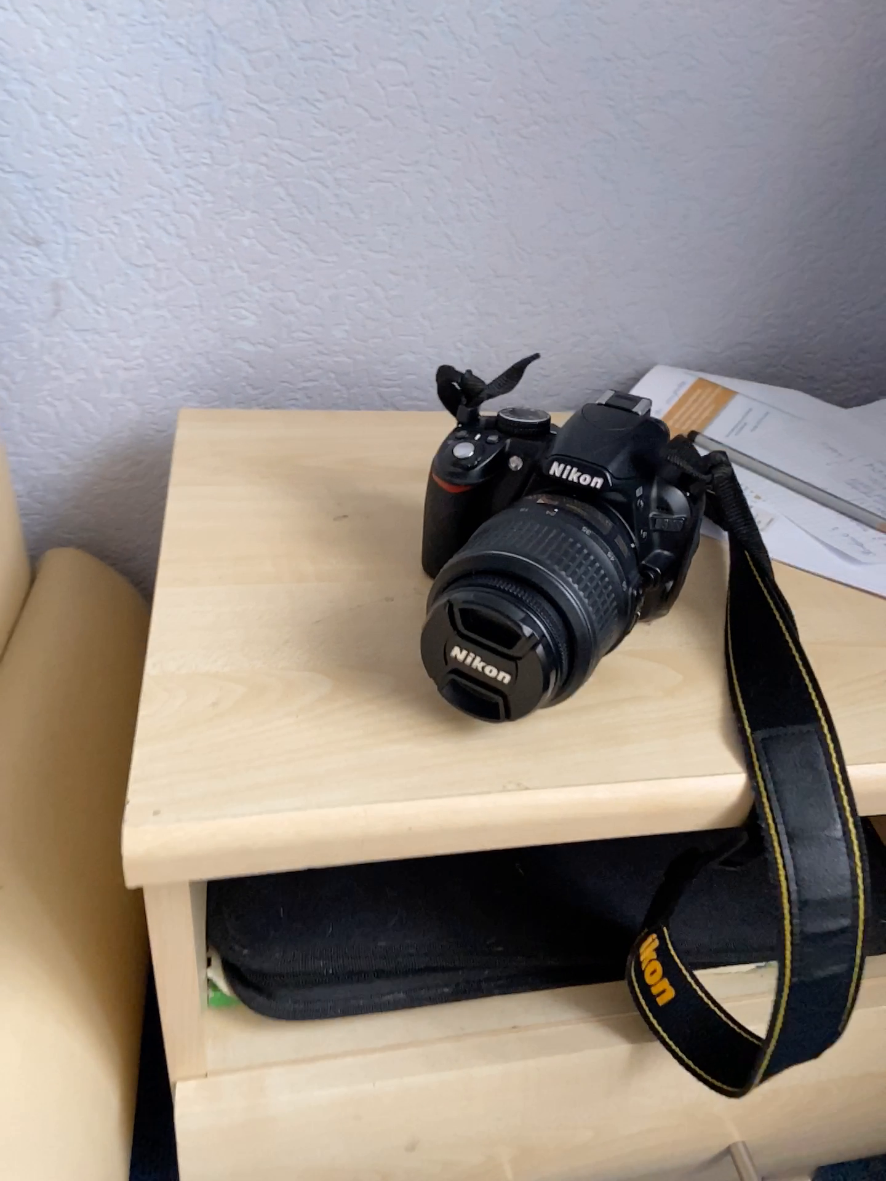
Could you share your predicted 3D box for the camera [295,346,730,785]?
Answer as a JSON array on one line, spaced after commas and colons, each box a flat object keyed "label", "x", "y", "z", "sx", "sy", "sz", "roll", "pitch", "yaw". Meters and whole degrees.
[{"label": "camera", "x": 0.032, "y": -0.023, "z": 0.374, "sx": 0.118, "sy": 0.091, "sz": 0.152, "roll": 19, "pitch": 36, "yaw": 19}]
